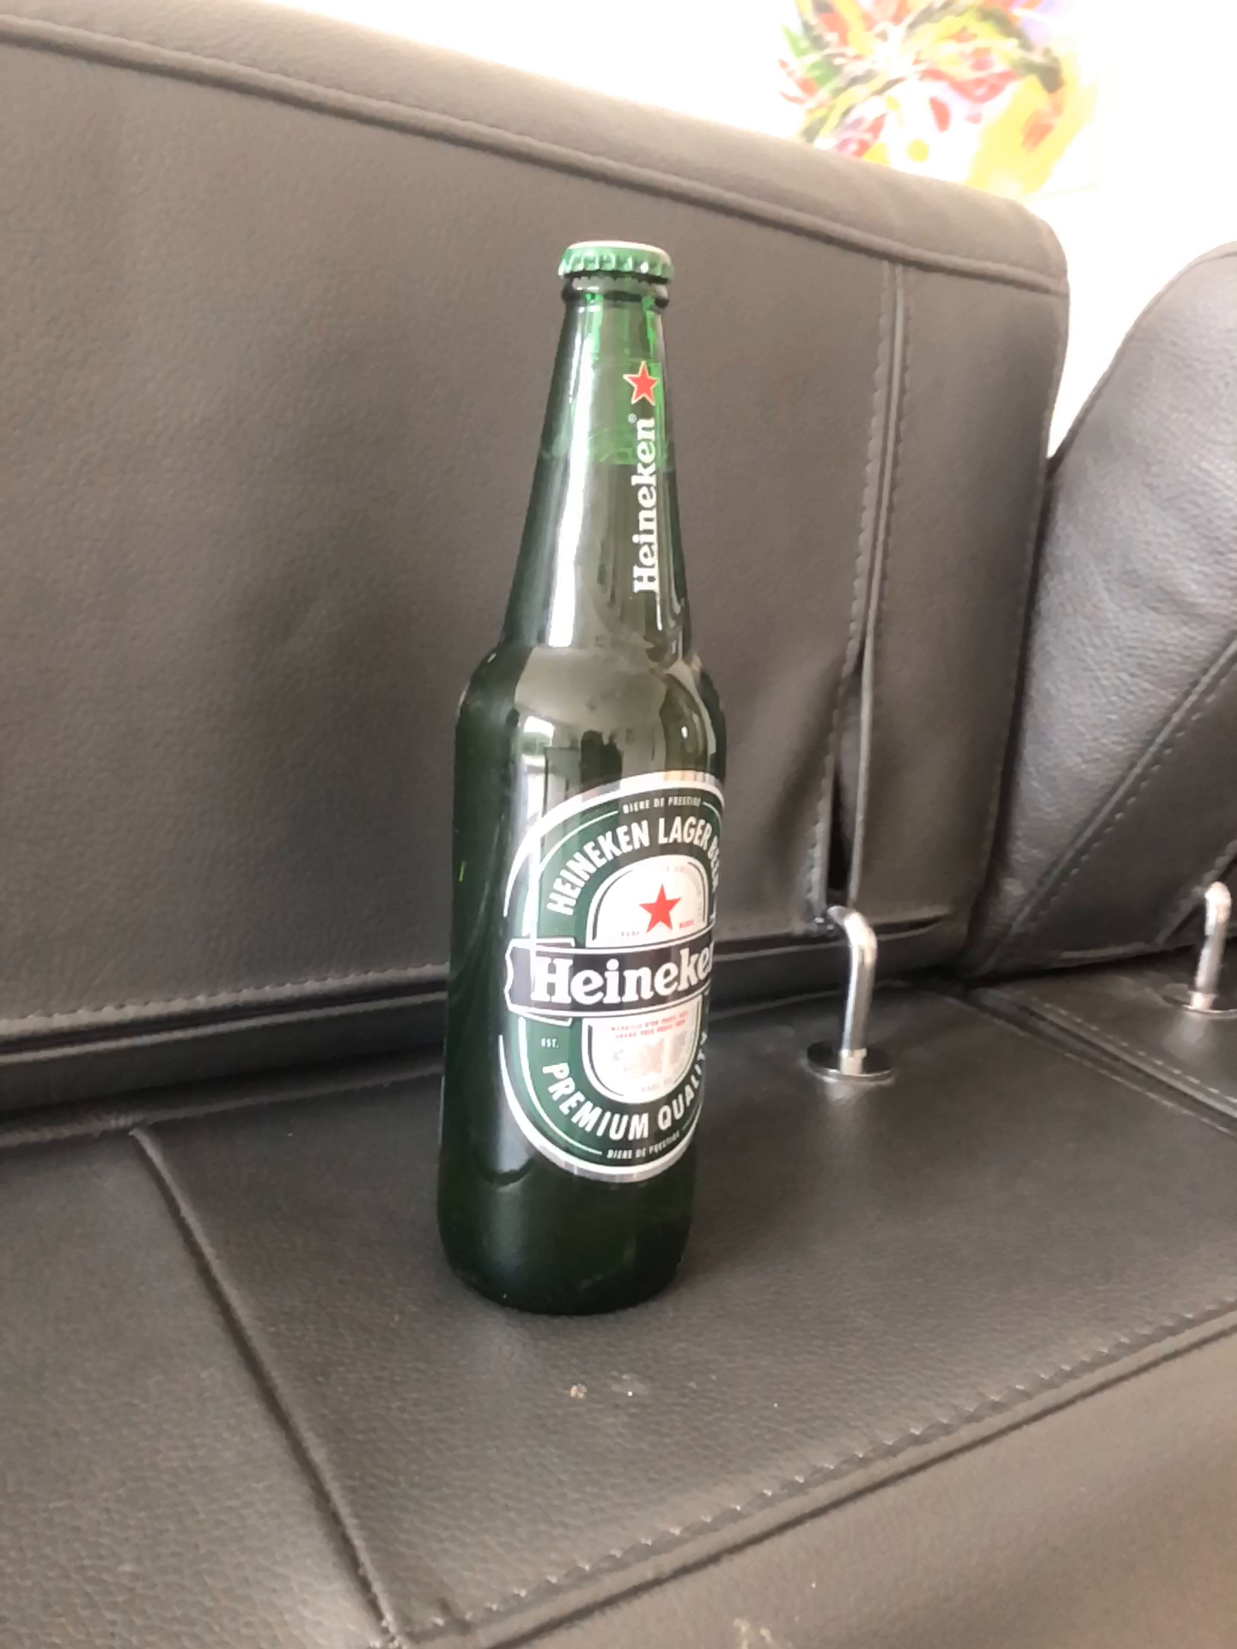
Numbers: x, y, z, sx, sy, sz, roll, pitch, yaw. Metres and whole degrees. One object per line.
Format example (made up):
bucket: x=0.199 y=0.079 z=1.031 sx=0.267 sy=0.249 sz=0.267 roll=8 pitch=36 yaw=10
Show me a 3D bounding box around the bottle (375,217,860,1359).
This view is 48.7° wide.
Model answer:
bottle: x=-0.007 y=-0.008 z=0.370 sx=0.080 sy=0.269 sz=0.080 roll=4 pitch=12 yaw=-1
